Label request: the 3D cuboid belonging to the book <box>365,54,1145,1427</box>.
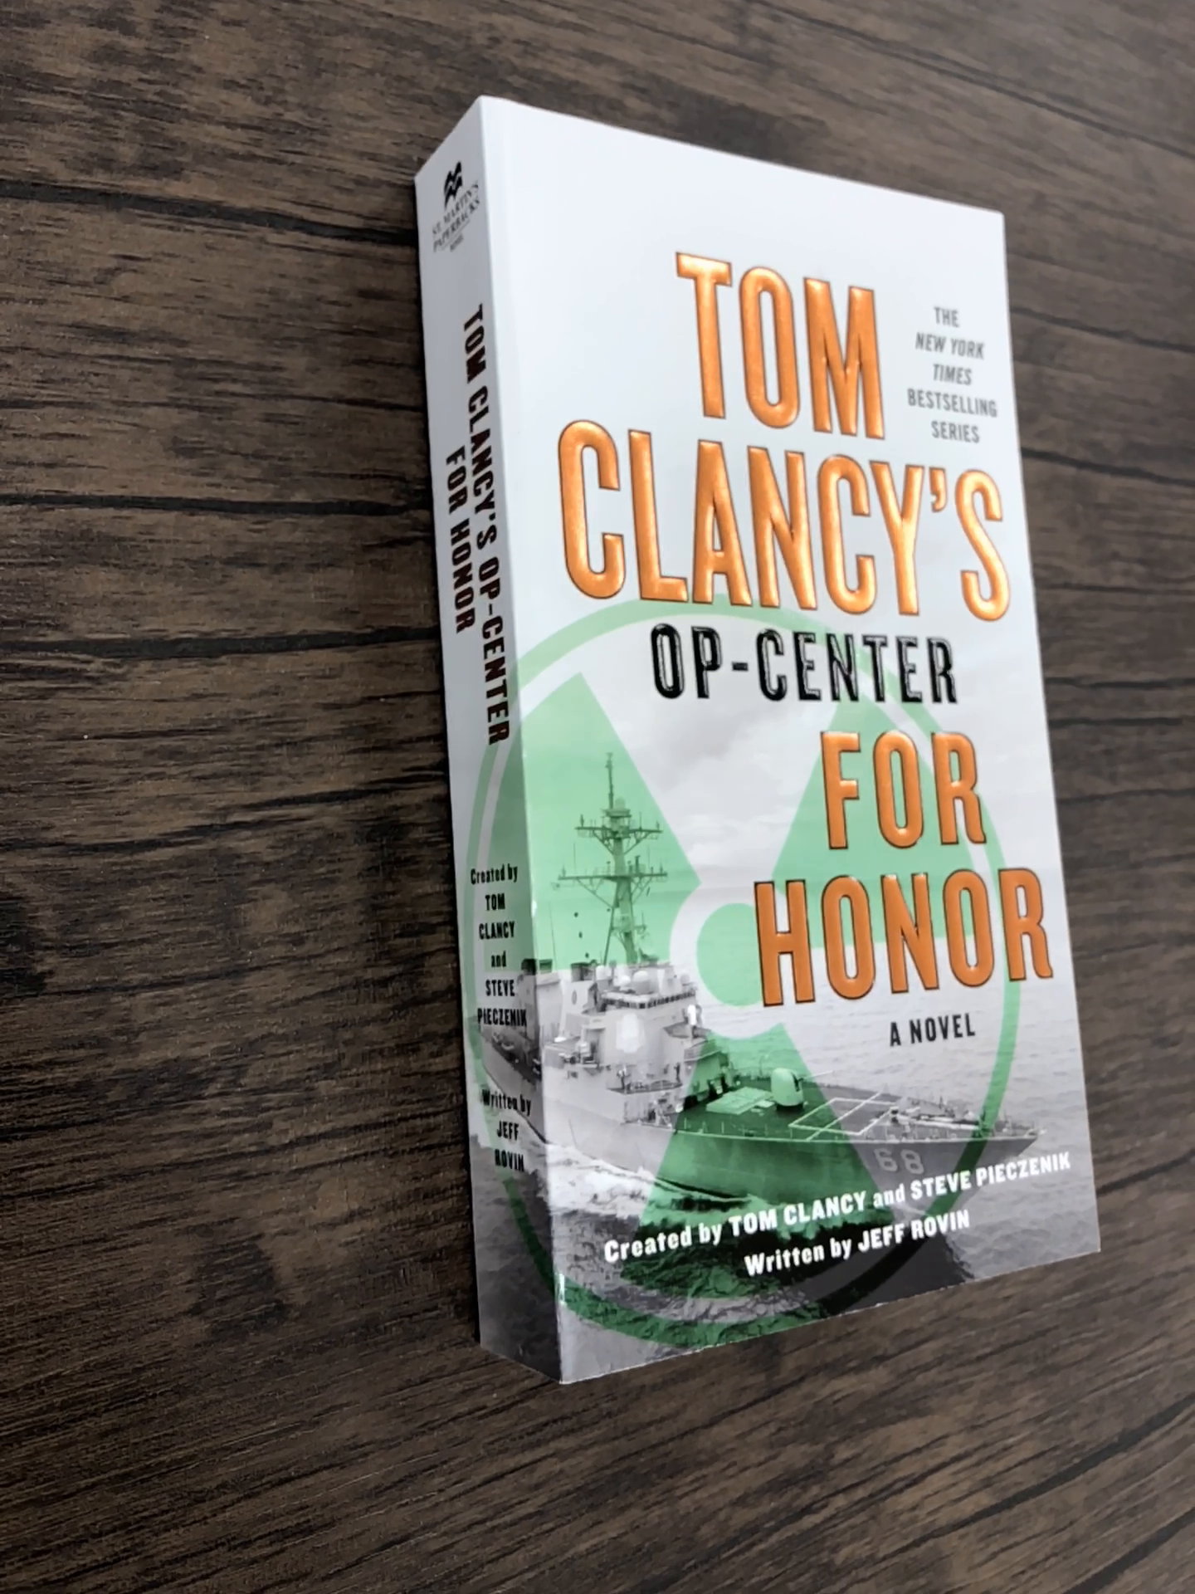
[{"bbox_3d":[0.027,-0.011,0.229,0.113,0.040,0.190,-2,84,-29],"label":"book"}]
